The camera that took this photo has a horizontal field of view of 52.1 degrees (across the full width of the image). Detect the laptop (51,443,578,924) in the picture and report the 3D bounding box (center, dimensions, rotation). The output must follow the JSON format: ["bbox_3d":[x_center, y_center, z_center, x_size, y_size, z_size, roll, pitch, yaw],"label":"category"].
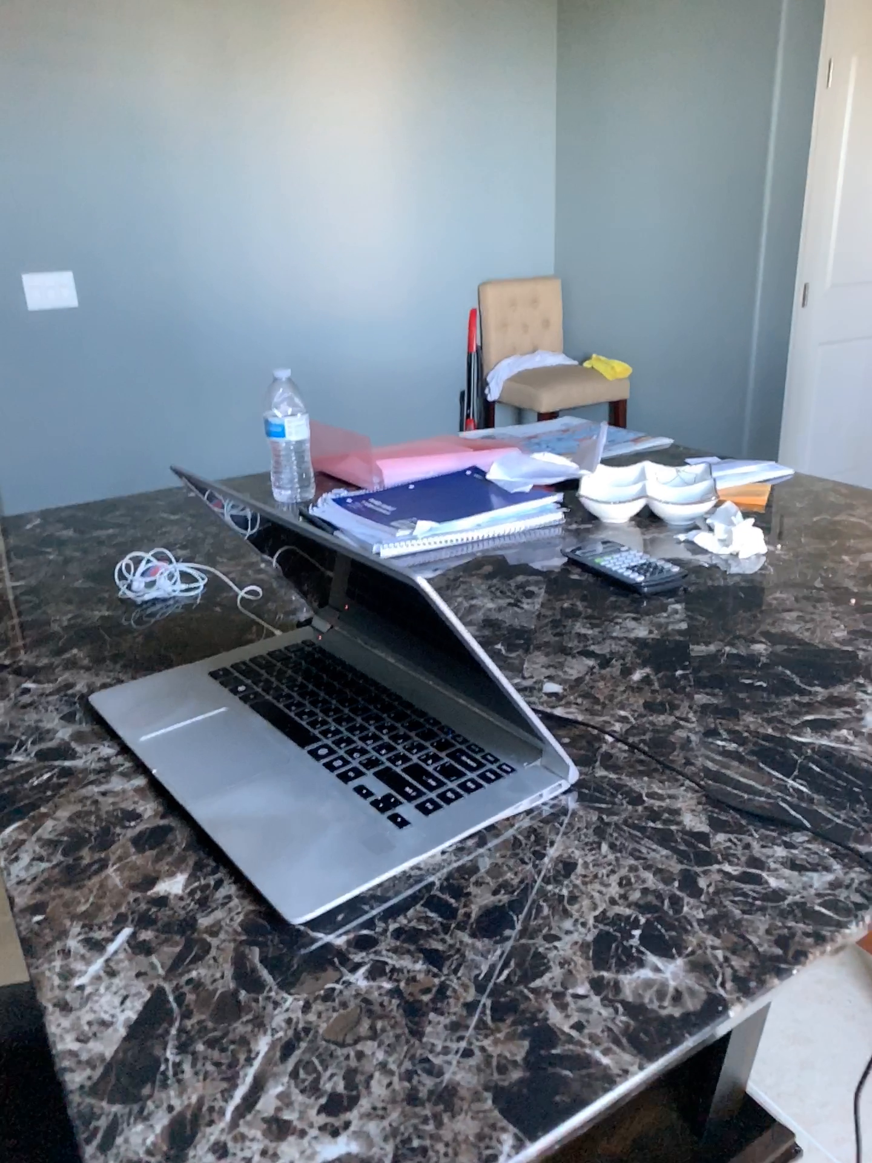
[{"bbox_3d":[-0.106,0.033,0.686,0.234,0.188,0.362,-17,26,-34],"label":"laptop"}]
